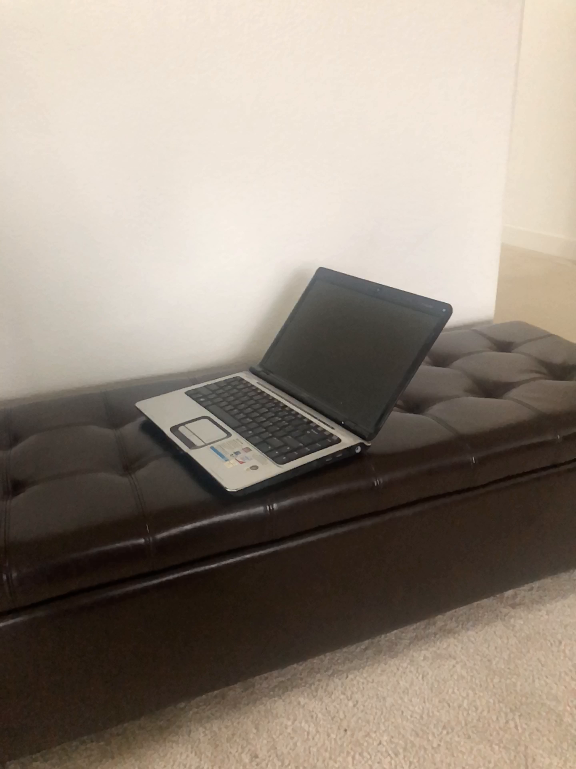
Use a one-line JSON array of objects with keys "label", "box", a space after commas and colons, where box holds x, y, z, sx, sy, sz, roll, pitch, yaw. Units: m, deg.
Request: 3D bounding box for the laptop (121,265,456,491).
[{"label": "laptop", "box": [-0.004, -0.044, 0.967, 0.381, 0.161, 0.327, -18, 27, -31]}]
